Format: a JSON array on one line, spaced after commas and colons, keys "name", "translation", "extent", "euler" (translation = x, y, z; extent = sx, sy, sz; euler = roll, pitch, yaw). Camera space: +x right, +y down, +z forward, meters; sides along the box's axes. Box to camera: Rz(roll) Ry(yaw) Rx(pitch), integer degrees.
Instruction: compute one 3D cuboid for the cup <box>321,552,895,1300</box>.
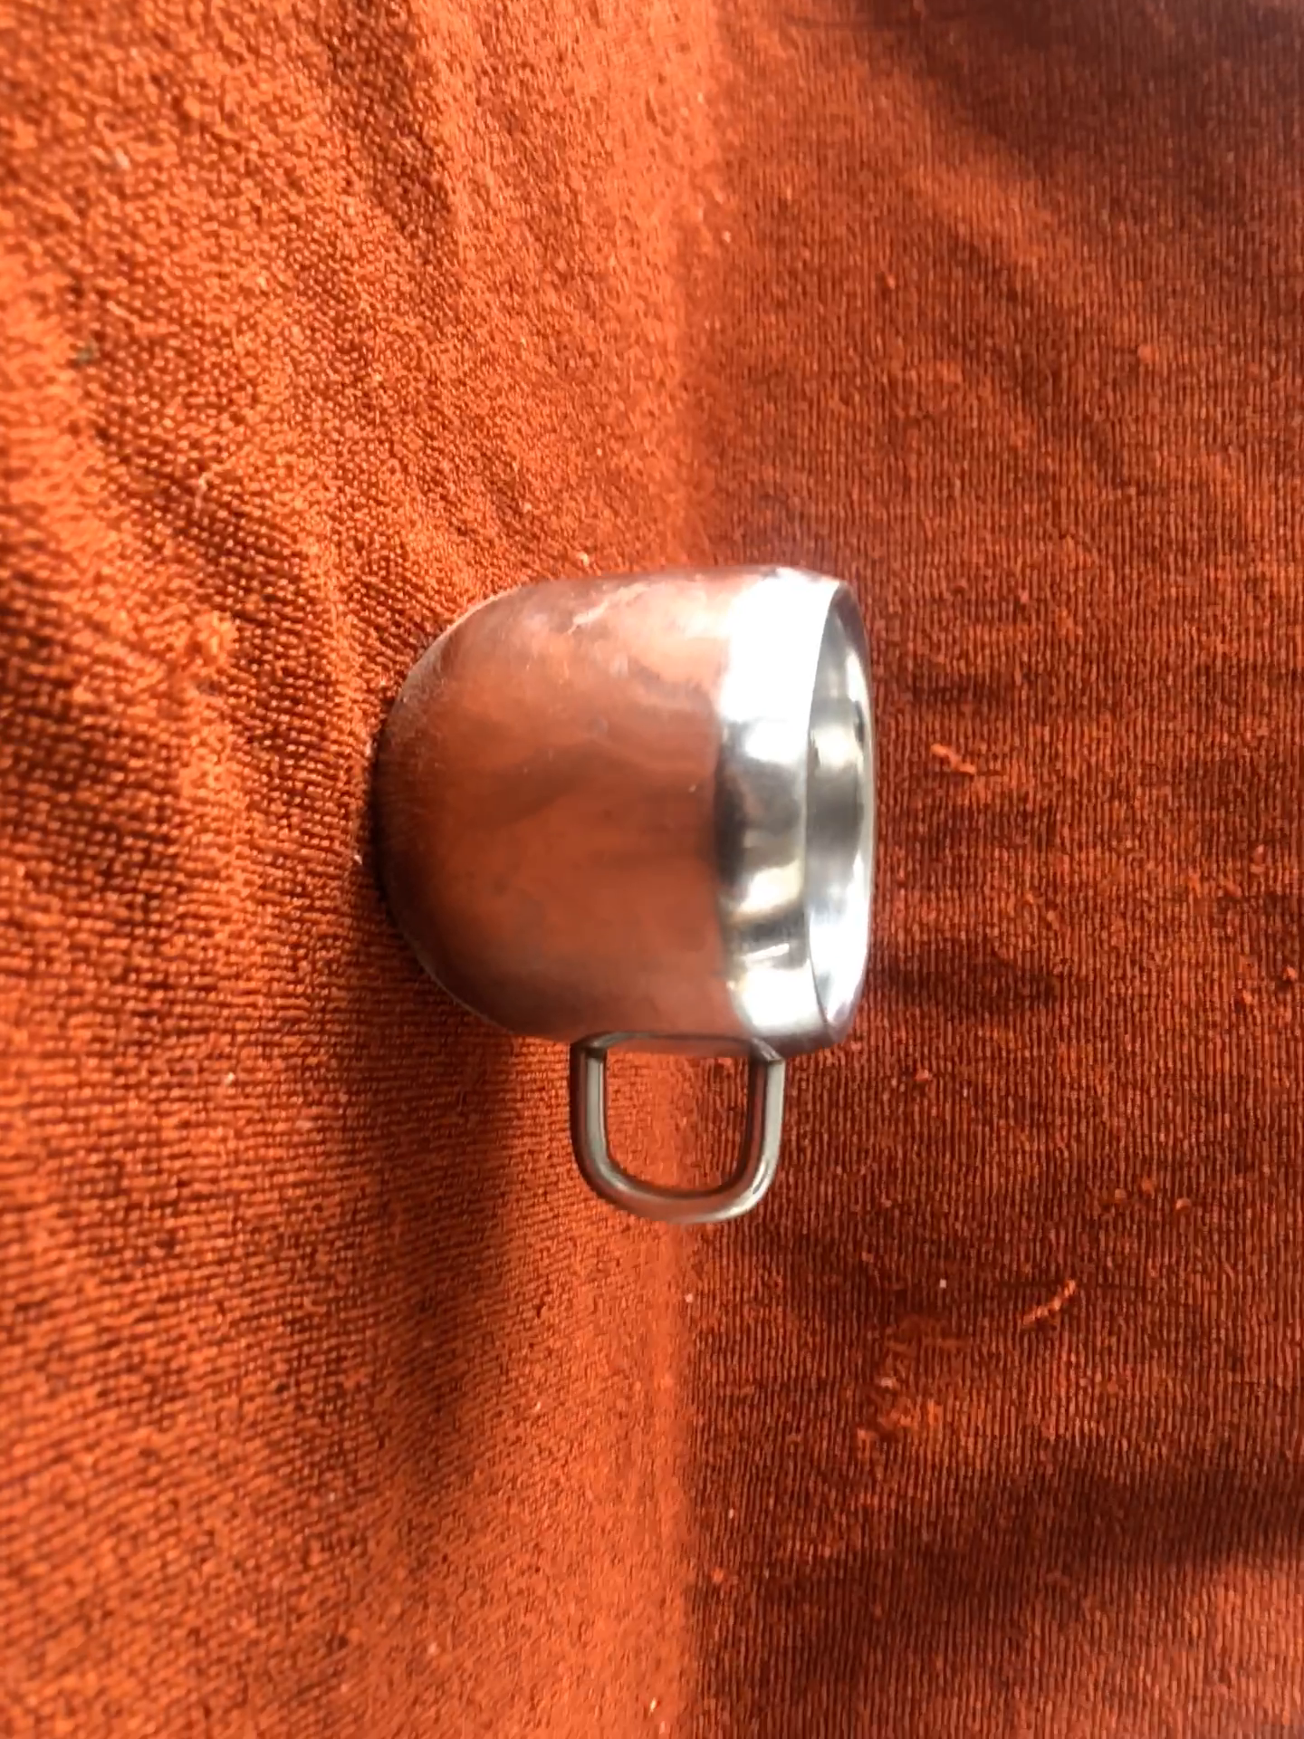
[{"name": "cup", "translation": [0.000, 0.004, 0.211], "extent": [0.060, 0.060, 0.090], "euler": [-46, 134, -66]}]
